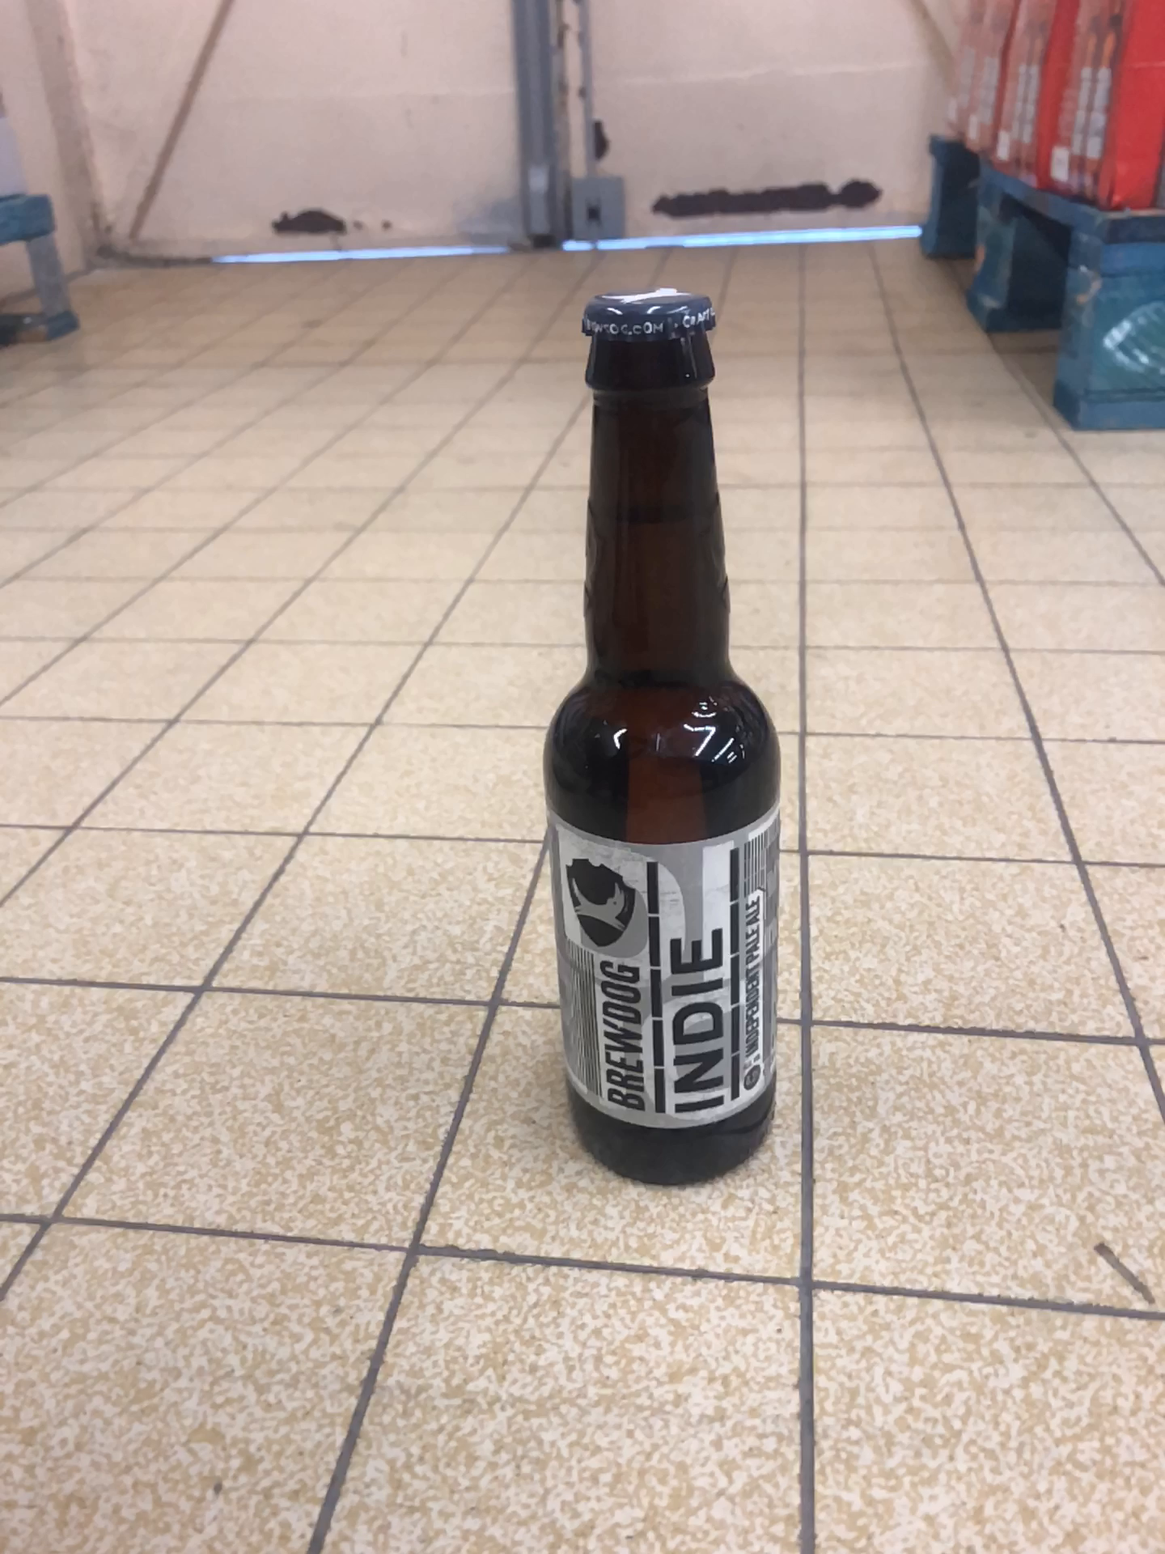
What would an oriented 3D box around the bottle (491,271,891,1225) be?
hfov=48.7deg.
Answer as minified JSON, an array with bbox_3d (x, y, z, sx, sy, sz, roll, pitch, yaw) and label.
[{"bbox_3d":[0.024,-0.002,0.321,0.070,0.222,0.070,-2,27,1],"label":"bottle"}]
